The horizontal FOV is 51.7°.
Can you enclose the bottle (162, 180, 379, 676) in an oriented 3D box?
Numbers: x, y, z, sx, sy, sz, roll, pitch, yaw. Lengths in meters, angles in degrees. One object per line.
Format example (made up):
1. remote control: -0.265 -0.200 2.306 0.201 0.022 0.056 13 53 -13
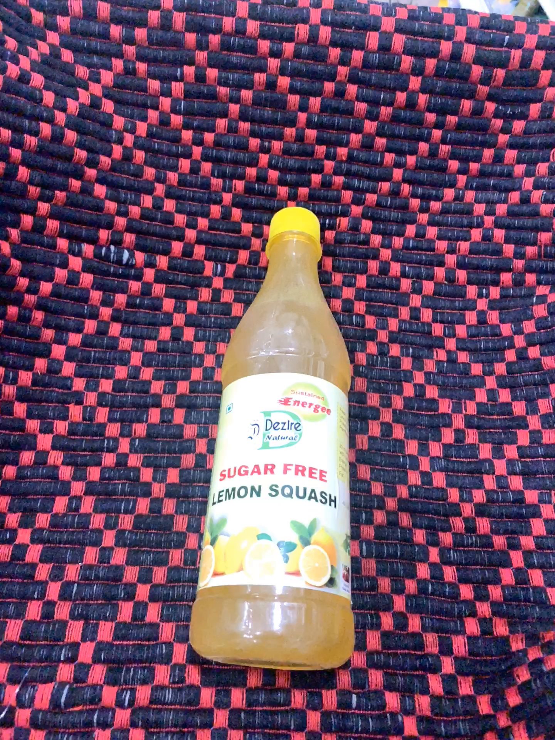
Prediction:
1. bottle: 0.001 0.010 0.274 0.070 0.060 0.231 6 55 -3
